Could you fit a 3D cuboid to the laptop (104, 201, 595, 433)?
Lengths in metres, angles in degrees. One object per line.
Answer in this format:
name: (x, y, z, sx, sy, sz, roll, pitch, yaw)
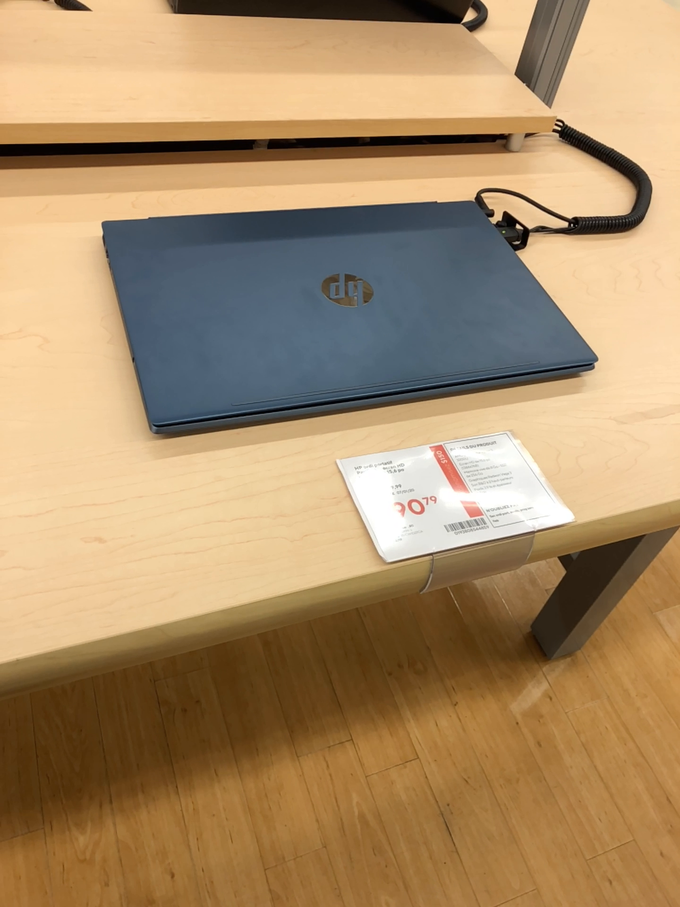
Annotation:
laptop: (0.004, -0.131, 0.623, 0.353, 0.012, 0.220, -10, 55, -18)
